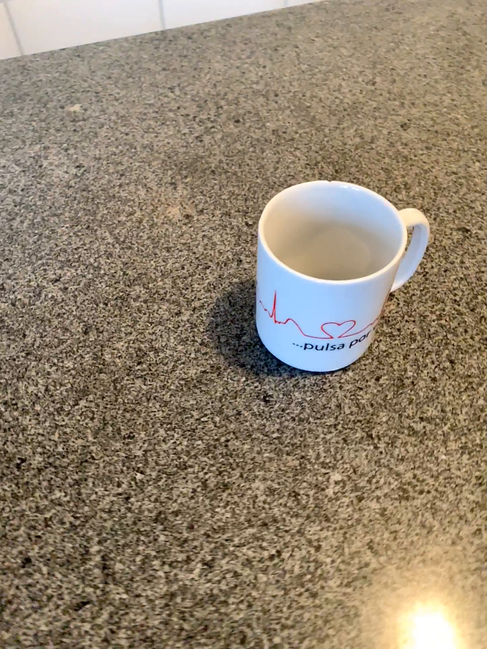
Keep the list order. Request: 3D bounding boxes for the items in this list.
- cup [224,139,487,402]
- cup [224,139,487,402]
[{"bbox_3d":[0.062,-0.034,0.314,0.120,0.100,0.090,-19,55,-14],"label":"cup"},{"bbox_3d":[0.062,-0.034,0.314,0.120,0.100,0.090,-19,55,-14],"label":"cup"}]
